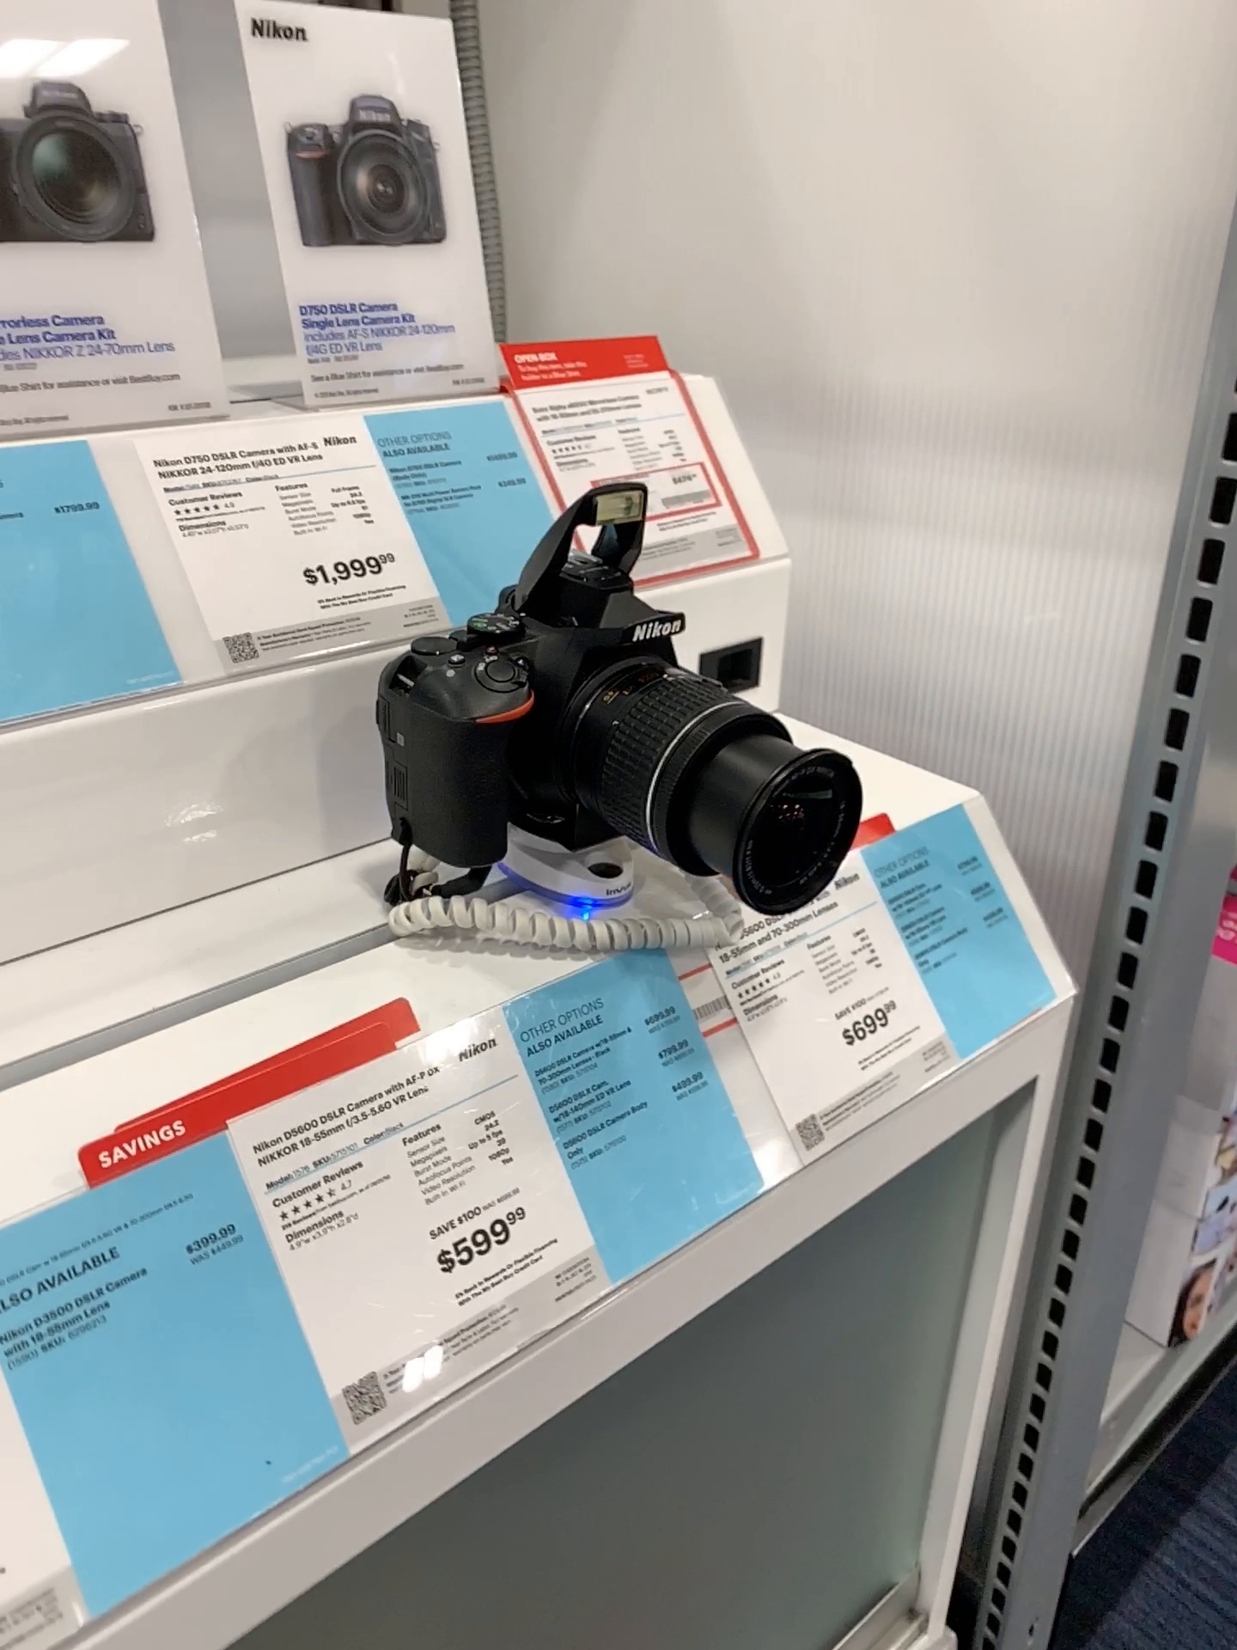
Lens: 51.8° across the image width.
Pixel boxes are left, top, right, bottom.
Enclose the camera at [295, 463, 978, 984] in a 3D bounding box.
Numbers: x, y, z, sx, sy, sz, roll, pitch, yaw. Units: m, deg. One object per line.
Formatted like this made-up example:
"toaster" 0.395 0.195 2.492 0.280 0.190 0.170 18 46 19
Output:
"camera" 0.001 -0.054 0.459 0.140 0.109 0.191 -22 34 -39
